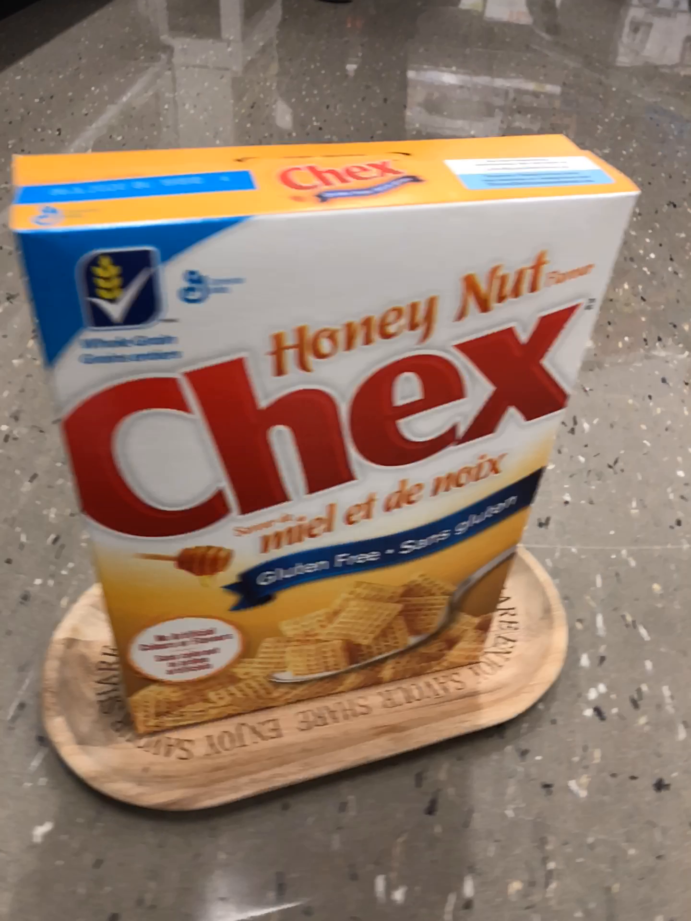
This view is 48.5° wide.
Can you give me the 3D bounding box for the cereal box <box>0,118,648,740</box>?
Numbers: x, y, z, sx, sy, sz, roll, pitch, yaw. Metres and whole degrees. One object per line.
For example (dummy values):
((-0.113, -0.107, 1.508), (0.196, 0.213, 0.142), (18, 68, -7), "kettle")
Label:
((-0.017, 0.005, 0.344), (0.210, 0.279, 0.060), (-8, 44, -14), "cereal box")
